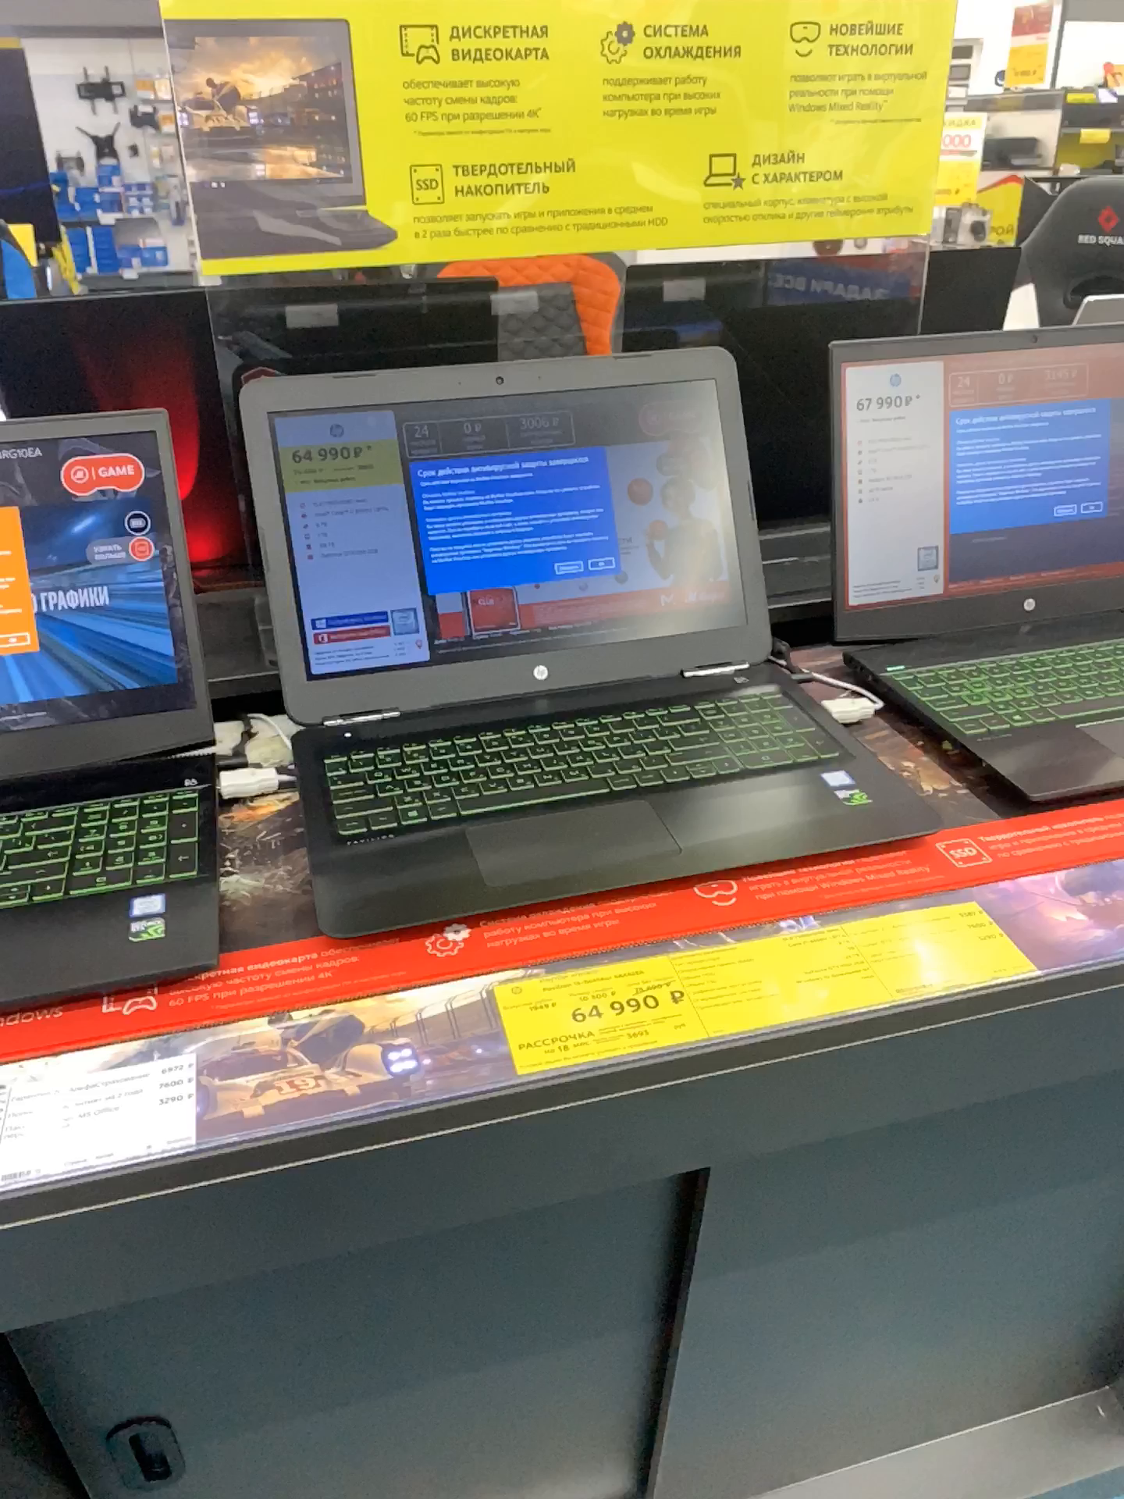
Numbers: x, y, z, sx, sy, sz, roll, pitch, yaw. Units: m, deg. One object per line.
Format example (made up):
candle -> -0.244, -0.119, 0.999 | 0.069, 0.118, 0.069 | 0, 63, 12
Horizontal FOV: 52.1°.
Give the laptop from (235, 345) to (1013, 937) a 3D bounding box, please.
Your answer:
laptop -> 0.003, -0.113, 0.773 | 0.384, 0.223, 0.380 | -8, 29, -14
